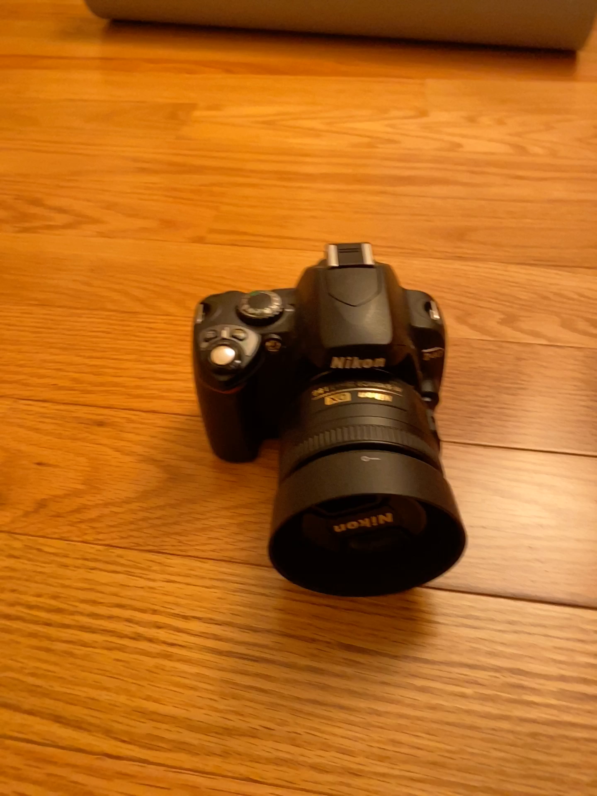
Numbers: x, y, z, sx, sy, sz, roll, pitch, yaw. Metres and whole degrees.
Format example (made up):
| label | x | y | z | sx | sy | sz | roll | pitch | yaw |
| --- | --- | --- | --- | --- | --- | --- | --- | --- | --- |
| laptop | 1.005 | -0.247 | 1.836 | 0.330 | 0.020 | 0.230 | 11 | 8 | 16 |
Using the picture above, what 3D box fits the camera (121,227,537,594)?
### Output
| label | x | y | z | sx | sy | sz | roll | pitch | yaw |
| --- | --- | --- | --- | --- | --- | --- | --- | --- | --- |
| camera | 0.010 | 0.000 | 0.271 | 0.130 | 0.080 | 0.141 | -1 | 46 | 1 |
